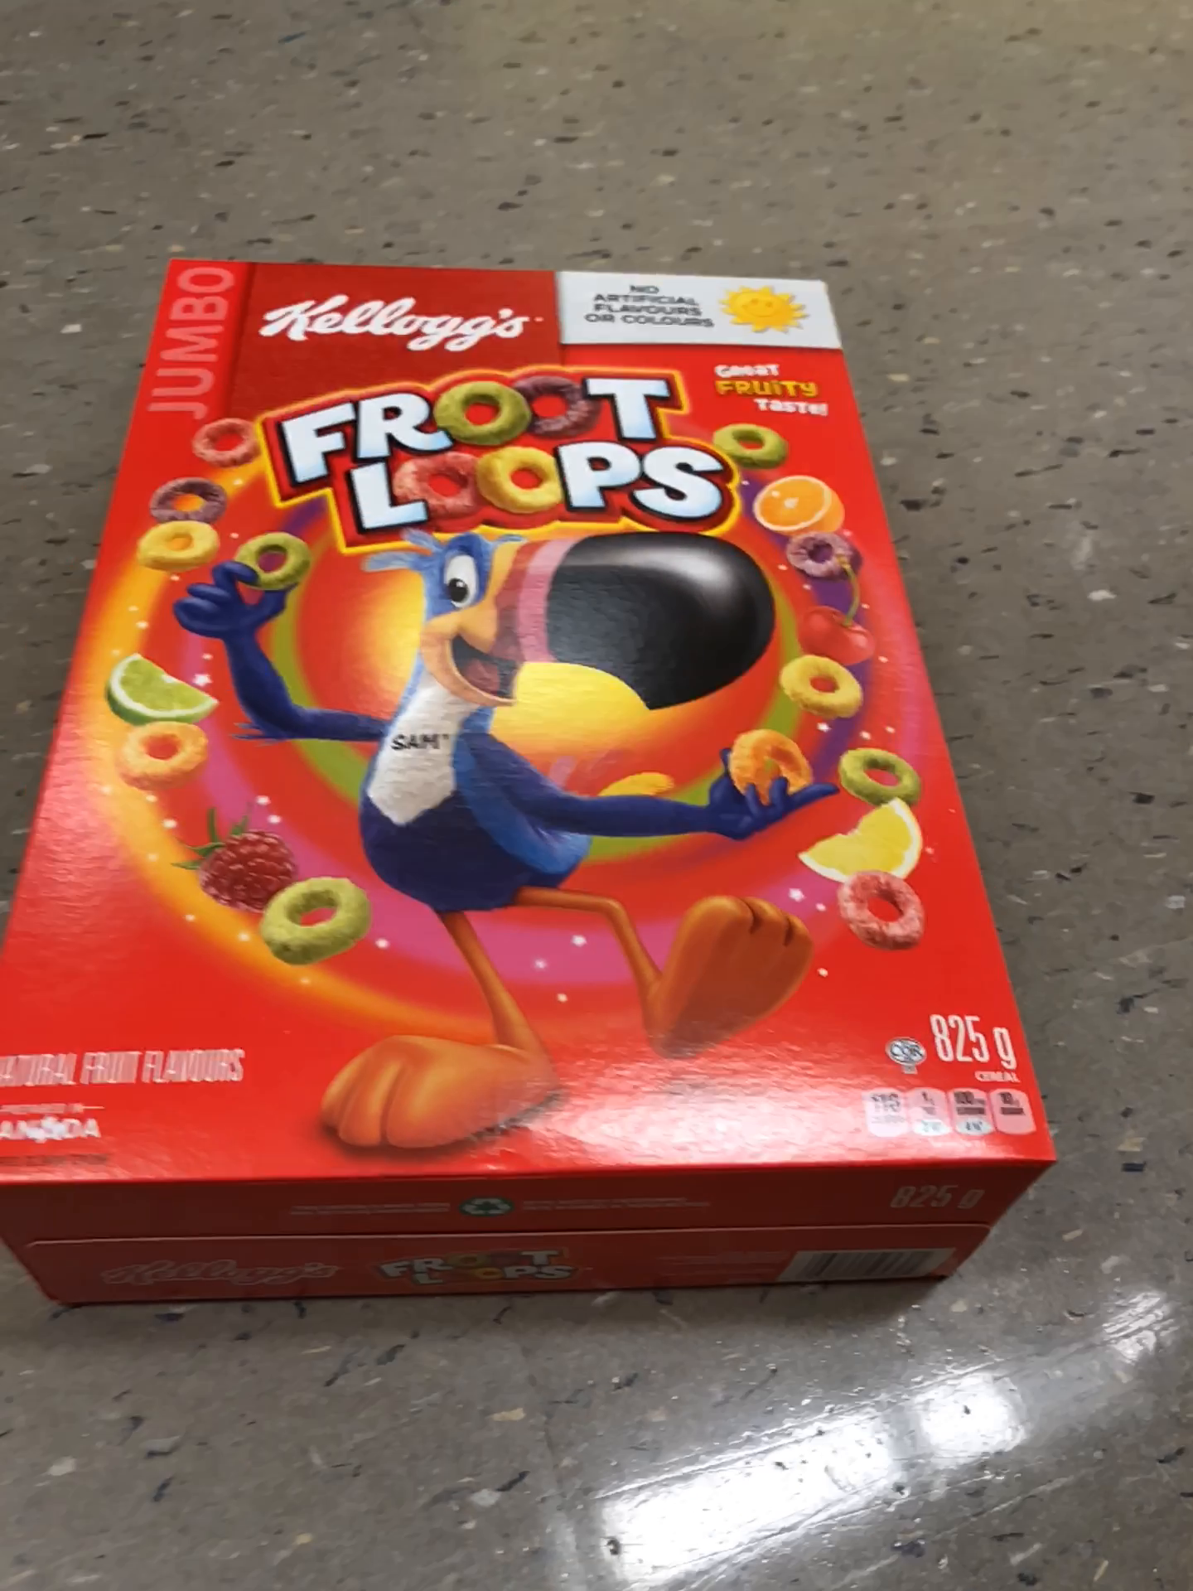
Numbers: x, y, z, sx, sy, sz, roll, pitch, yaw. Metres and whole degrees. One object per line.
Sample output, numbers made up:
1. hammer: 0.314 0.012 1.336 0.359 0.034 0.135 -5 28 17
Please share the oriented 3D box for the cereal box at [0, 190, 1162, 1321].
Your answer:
1. cereal box: -0.032 -0.045 0.397 0.270 0.080 0.361 0 52 -5
